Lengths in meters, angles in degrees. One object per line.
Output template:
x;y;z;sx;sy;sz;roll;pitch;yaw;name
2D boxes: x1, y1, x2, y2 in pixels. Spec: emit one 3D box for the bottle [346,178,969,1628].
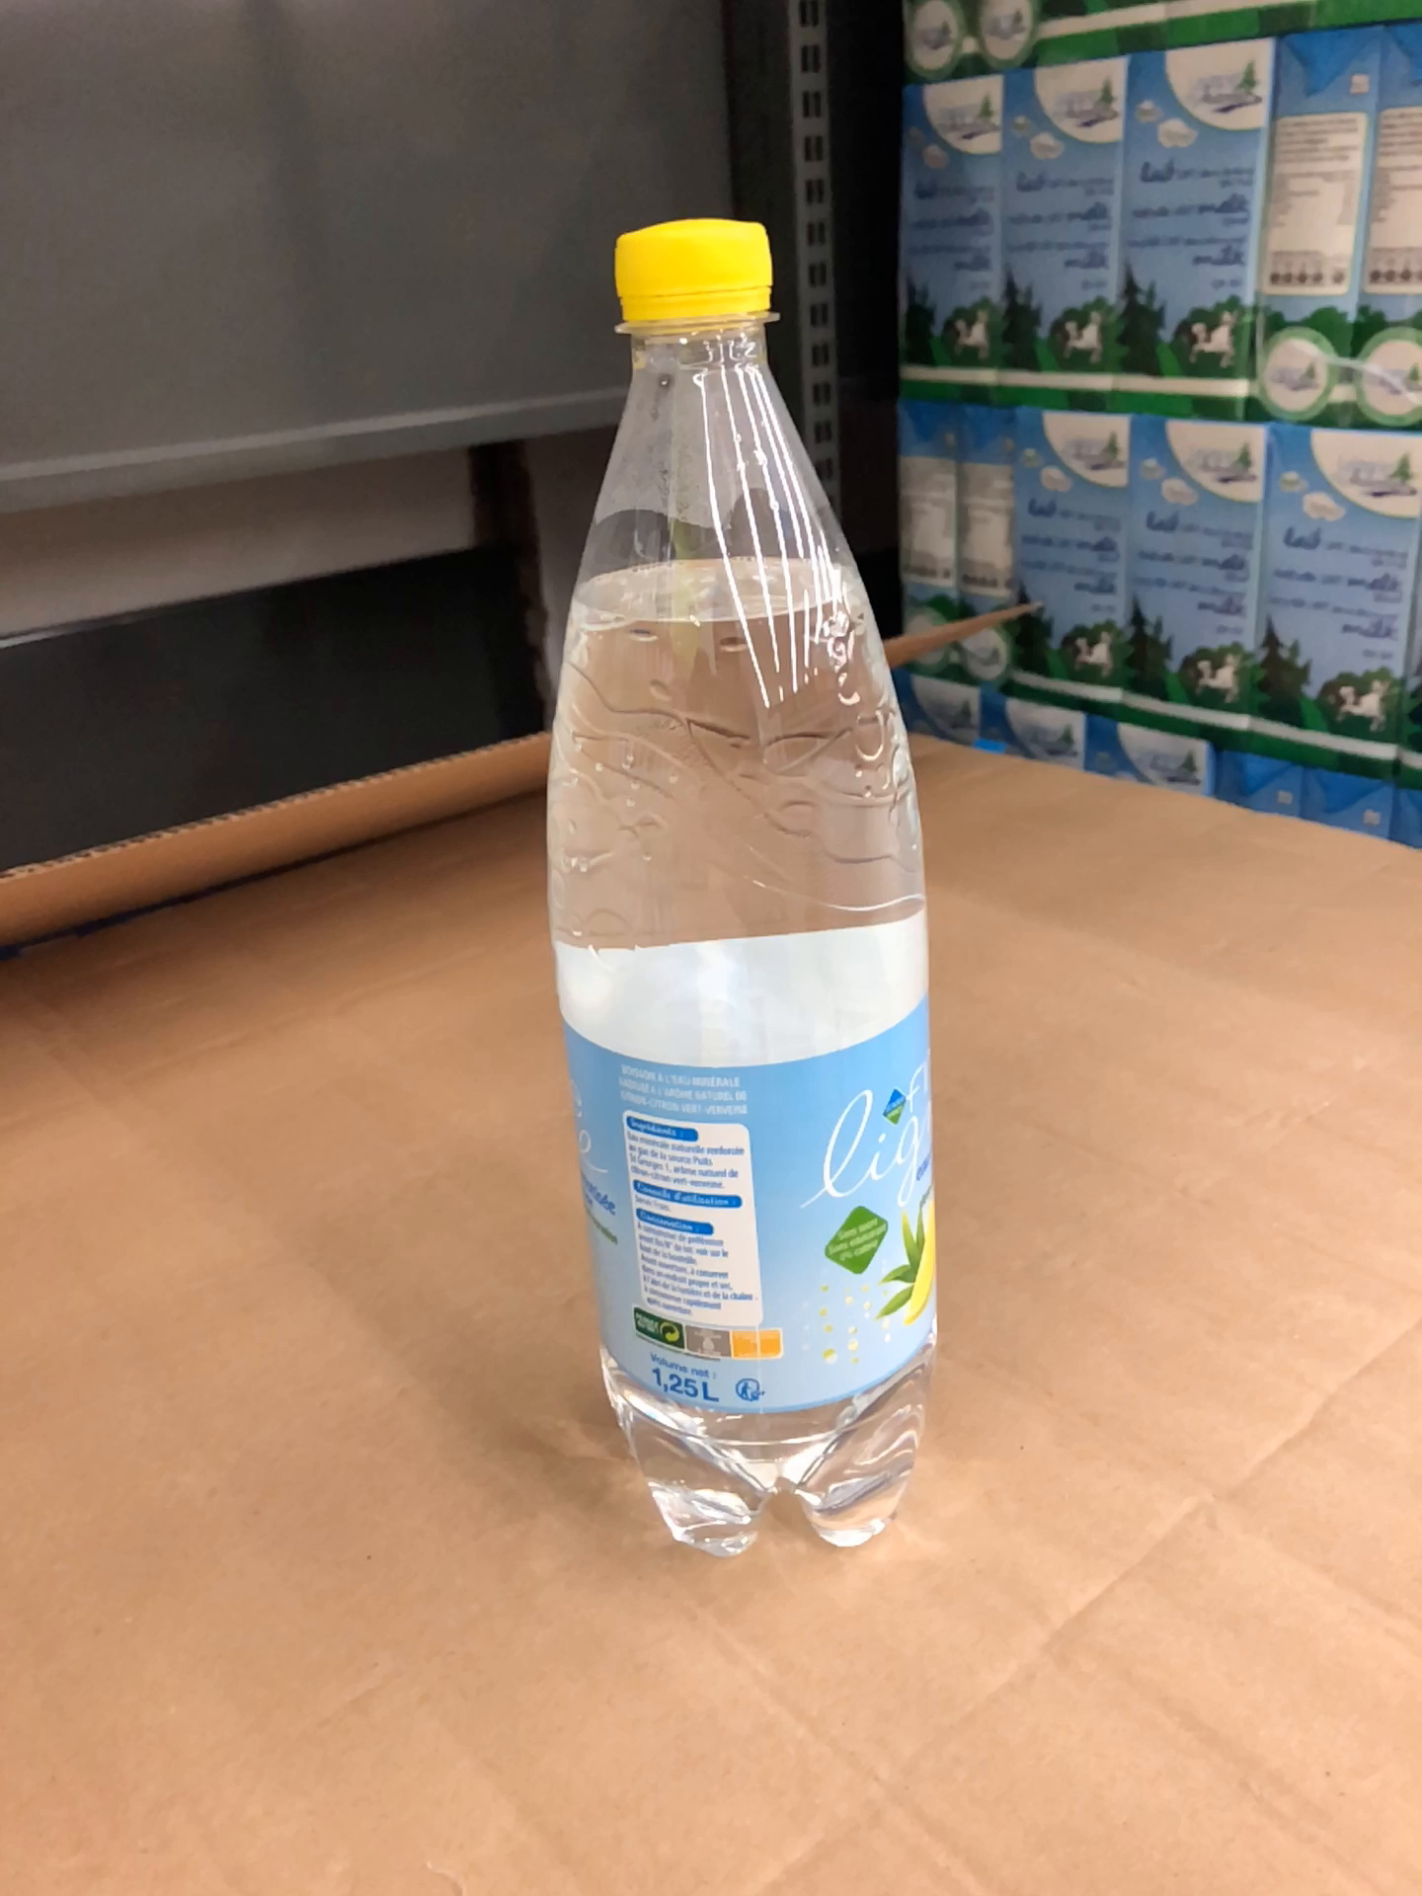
0.002;-0.005;0.344;0.080;0.289;0.091;8;26;26;bottle
